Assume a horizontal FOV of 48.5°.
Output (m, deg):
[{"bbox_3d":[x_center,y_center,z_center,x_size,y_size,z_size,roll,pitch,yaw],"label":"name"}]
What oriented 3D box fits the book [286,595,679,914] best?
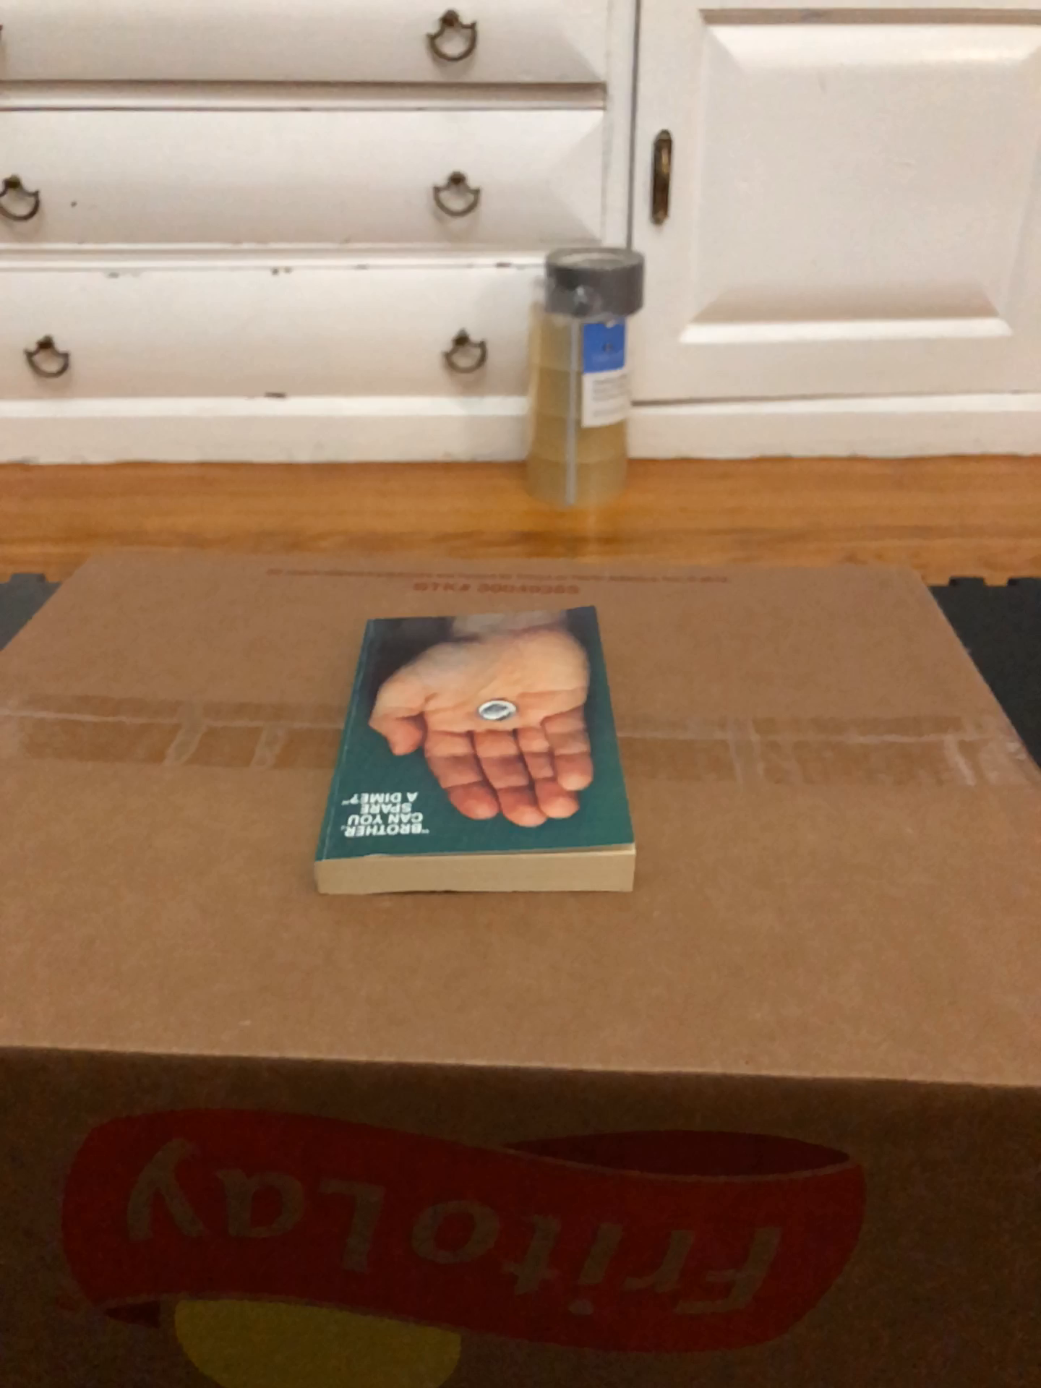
[{"bbox_3d":[-0.013,0.013,0.435,0.120,0.020,0.181,-1,31,-1],"label":"book"}]
